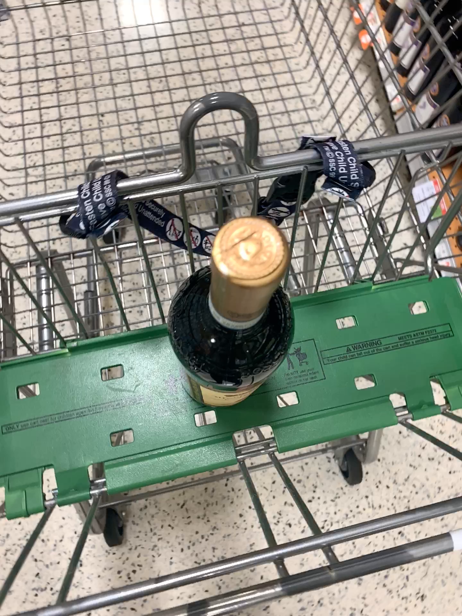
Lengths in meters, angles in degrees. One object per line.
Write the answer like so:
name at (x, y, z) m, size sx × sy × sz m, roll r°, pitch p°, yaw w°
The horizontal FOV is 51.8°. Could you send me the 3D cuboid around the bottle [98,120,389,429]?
bottle at (-0.003, 0.016, 0.307) m, size 0.080 × 0.279 × 0.080 m, roll 1°, pitch 73°, yaw -2°
